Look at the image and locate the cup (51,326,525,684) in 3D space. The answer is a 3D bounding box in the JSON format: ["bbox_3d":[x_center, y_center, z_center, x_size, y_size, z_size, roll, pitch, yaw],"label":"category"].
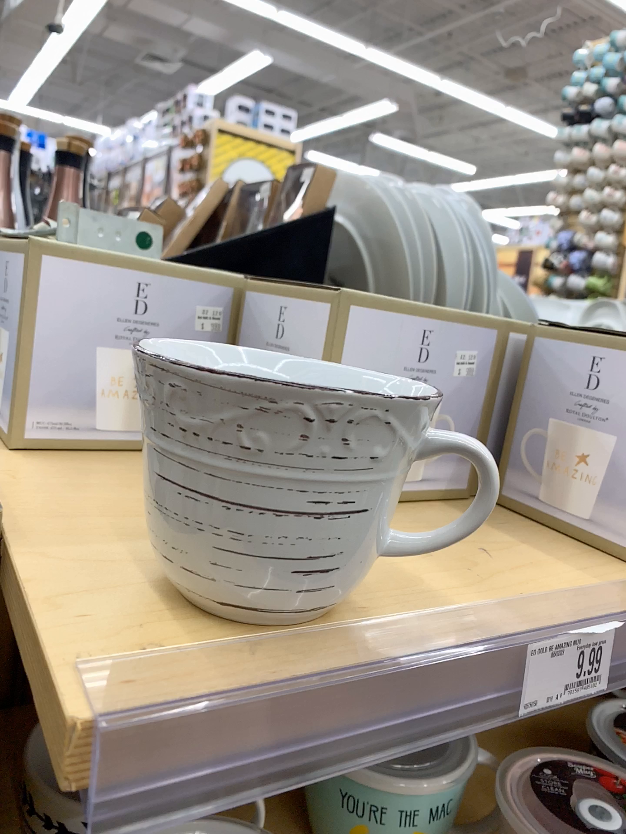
[{"bbox_3d":[0.000,0.015,0.230,0.124,0.075,0.114,8,8,-1],"label":"cup"}]
